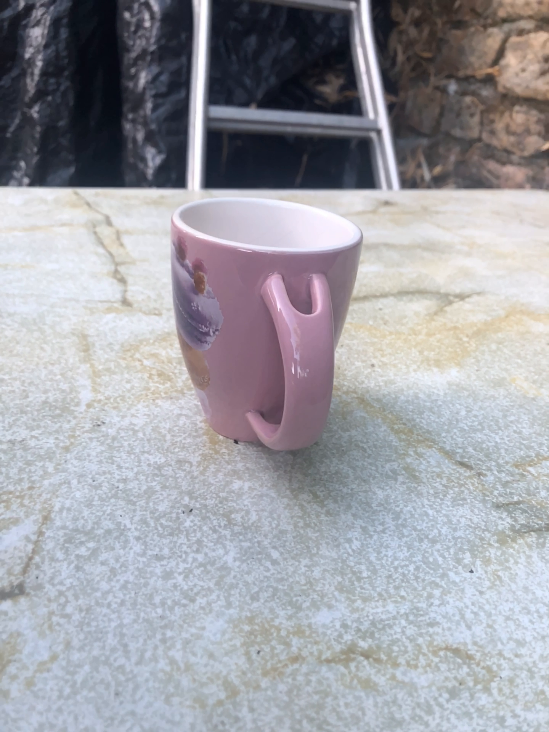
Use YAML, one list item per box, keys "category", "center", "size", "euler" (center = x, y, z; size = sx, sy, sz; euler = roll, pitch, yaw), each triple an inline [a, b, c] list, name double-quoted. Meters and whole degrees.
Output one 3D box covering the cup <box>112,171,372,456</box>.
- category: "cup"
  center: [-0.019, -0.027, 0.247]
  size: [0.080, 0.080, 0.099]
  euler: [-1, 27, -10]
